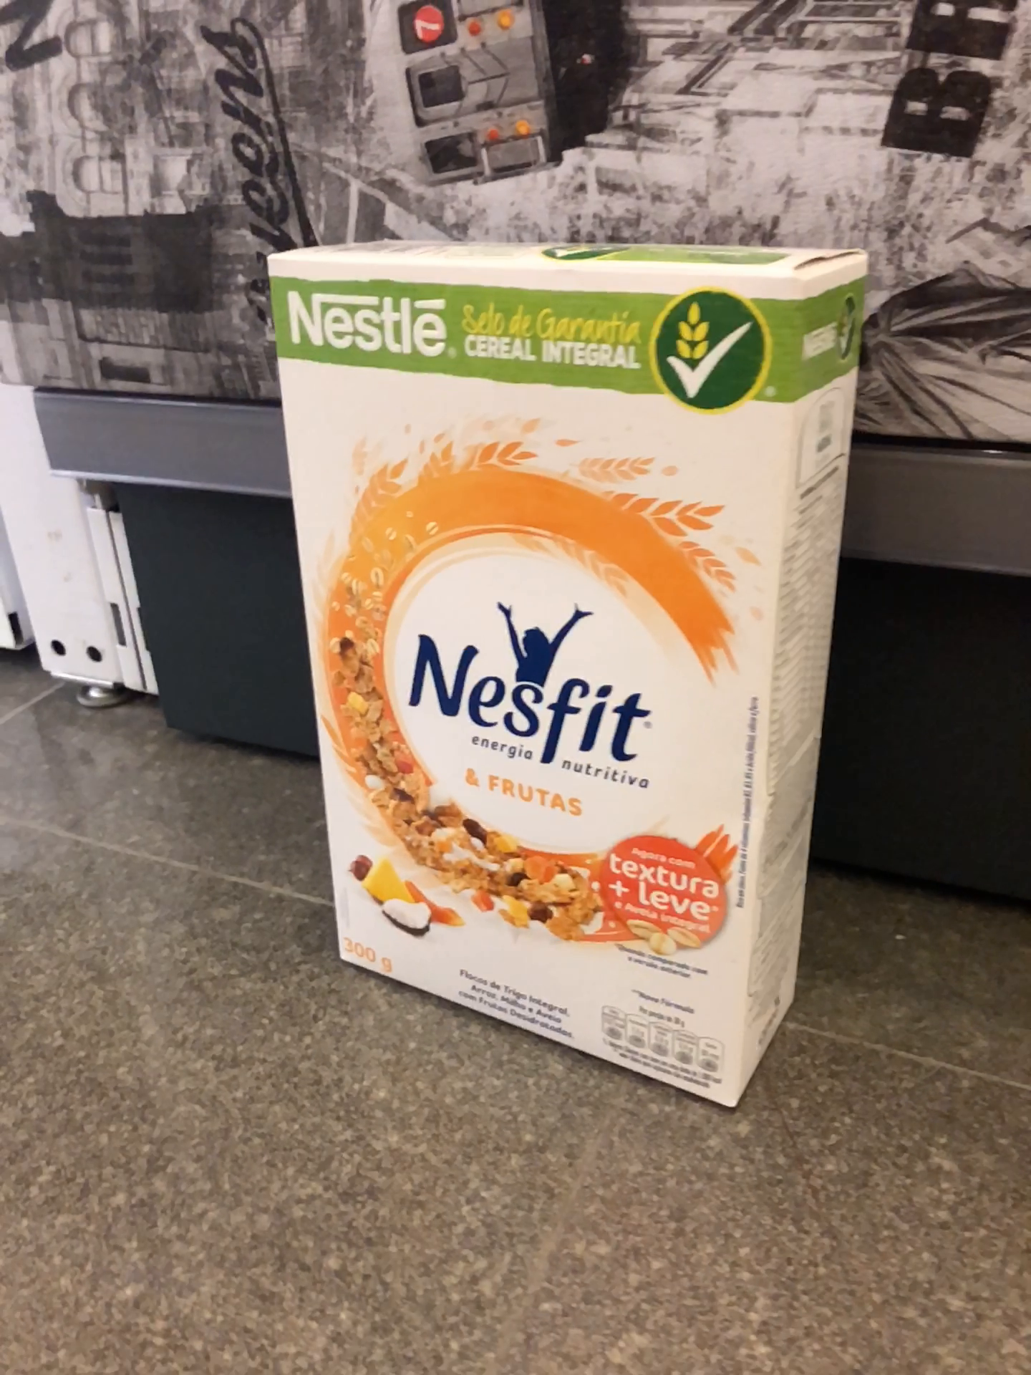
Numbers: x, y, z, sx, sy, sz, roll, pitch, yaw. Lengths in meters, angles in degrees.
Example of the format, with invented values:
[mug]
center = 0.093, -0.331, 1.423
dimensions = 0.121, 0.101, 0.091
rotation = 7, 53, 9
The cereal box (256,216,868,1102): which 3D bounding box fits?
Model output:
[cereal box]
center = 0.016, -0.012, 0.362
dimensions = 0.150, 0.248, 0.070
rotation = 12, 29, 28
